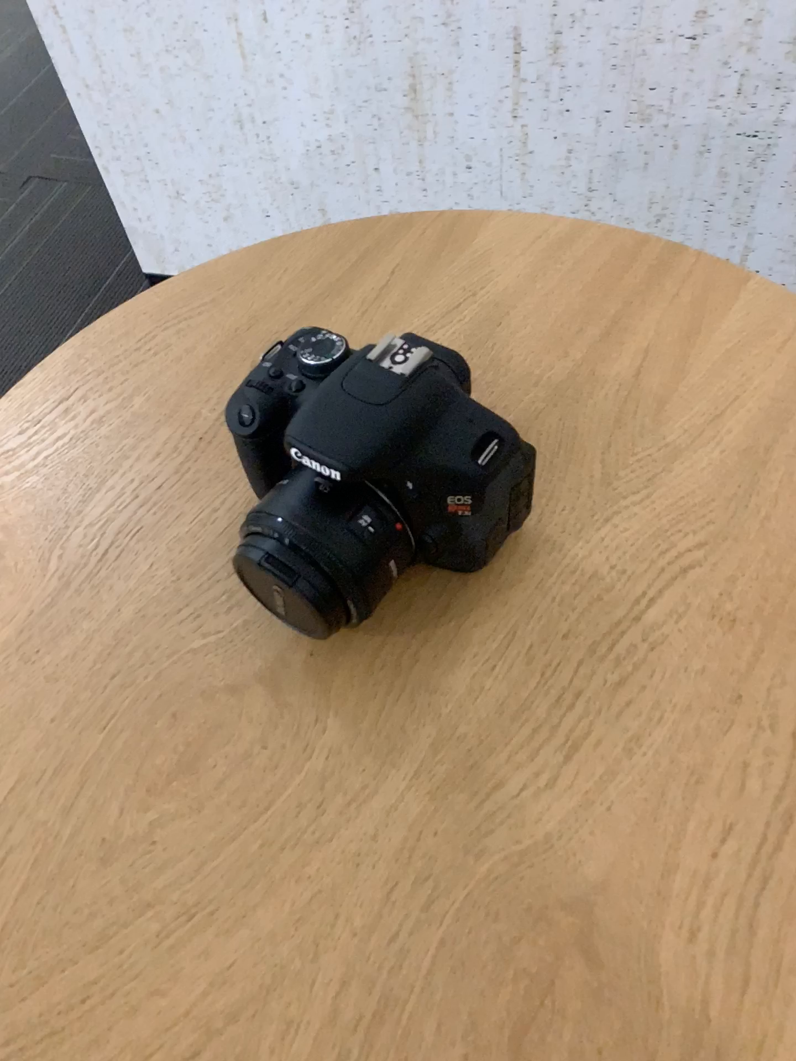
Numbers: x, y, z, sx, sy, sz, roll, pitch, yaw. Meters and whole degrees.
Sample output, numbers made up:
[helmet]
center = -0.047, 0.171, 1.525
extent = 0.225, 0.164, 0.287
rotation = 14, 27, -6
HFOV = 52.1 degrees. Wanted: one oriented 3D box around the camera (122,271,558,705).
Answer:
[camera]
center = -0.019, -0.021, 0.364
extent = 0.130, 0.100, 0.117
rotation = 28, 63, 23
